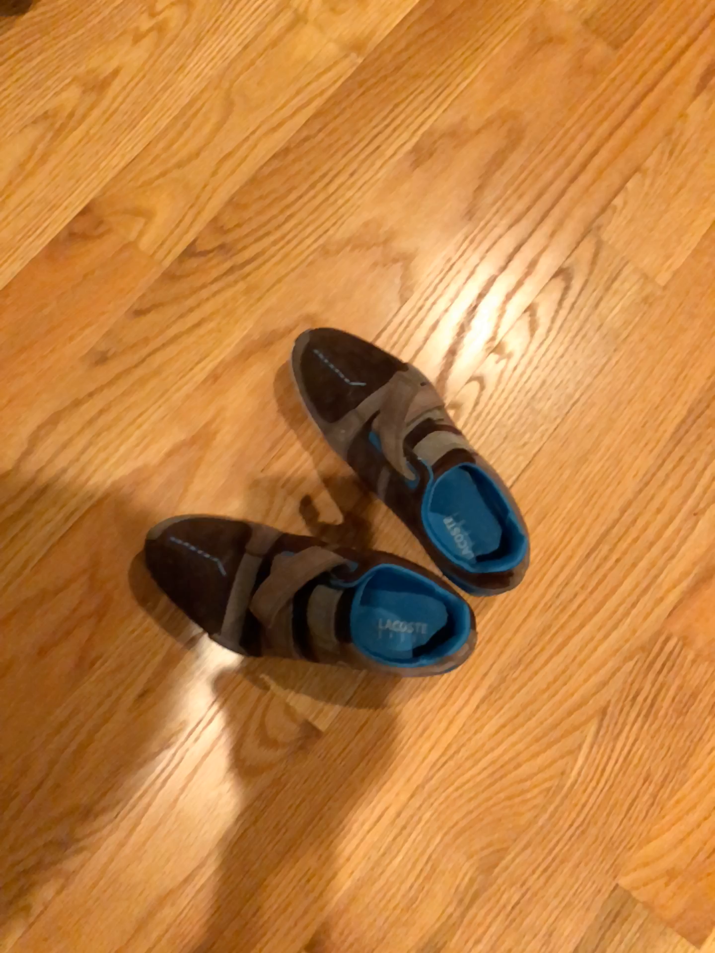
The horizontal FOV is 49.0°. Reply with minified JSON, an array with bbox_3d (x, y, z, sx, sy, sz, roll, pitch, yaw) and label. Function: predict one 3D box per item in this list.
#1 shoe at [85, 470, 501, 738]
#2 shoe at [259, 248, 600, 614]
[{"bbox_3d":[-0.043,0.091,0.564,0.255,0.092,0.102,18,79,-3],"label":"shoe"},{"bbox_3d":[0.046,-0.028,0.596,0.102,0.092,0.255,-39,87,-11],"label":"shoe"}]
